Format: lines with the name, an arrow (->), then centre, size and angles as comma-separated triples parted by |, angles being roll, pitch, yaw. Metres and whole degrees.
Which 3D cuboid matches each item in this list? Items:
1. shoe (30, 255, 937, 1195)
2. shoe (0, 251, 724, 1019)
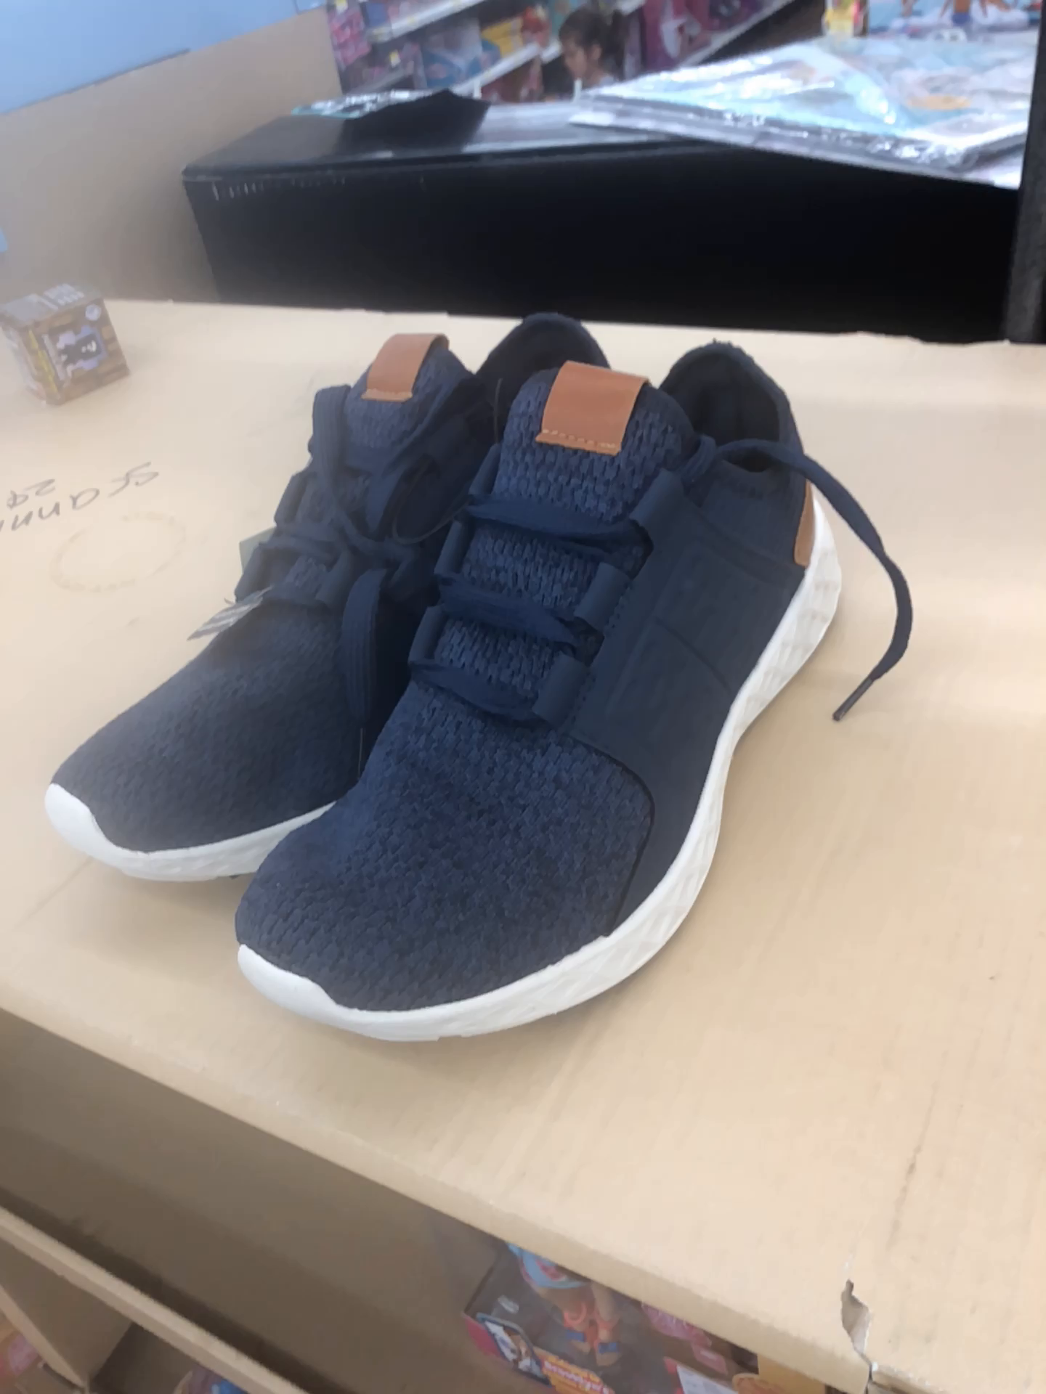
shoe -> 0.022, -0.025, 0.359 | 0.110, 0.120, 0.291 | 16, 43, 30
shoe -> -0.053, -0.048, 0.429 | 0.110, 0.129, 0.290 | 21, 47, 35
